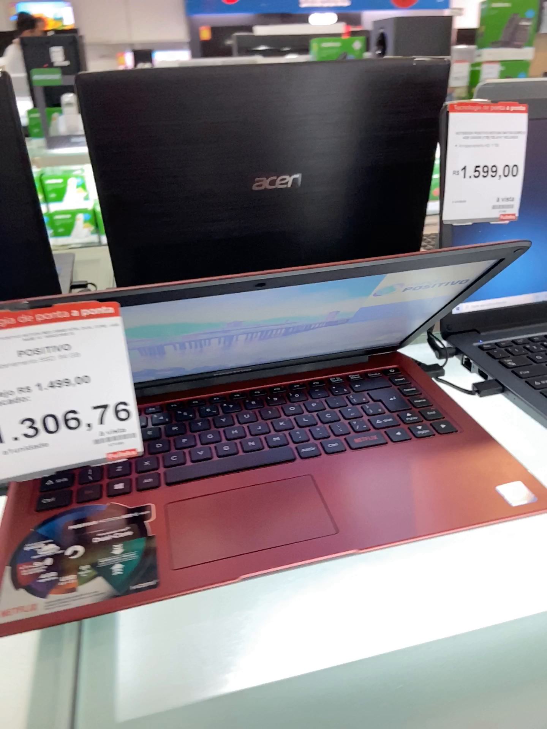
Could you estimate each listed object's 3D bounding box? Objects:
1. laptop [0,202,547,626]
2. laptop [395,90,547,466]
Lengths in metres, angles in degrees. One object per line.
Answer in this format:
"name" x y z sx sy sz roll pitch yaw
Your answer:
"laptop" -0.019 -0.002 0.369 0.320 0.144 0.213 -8 27 -11
"laptop" 0.367 -0.107 0.476 0.384 0.207 0.278 -8 29 -15
